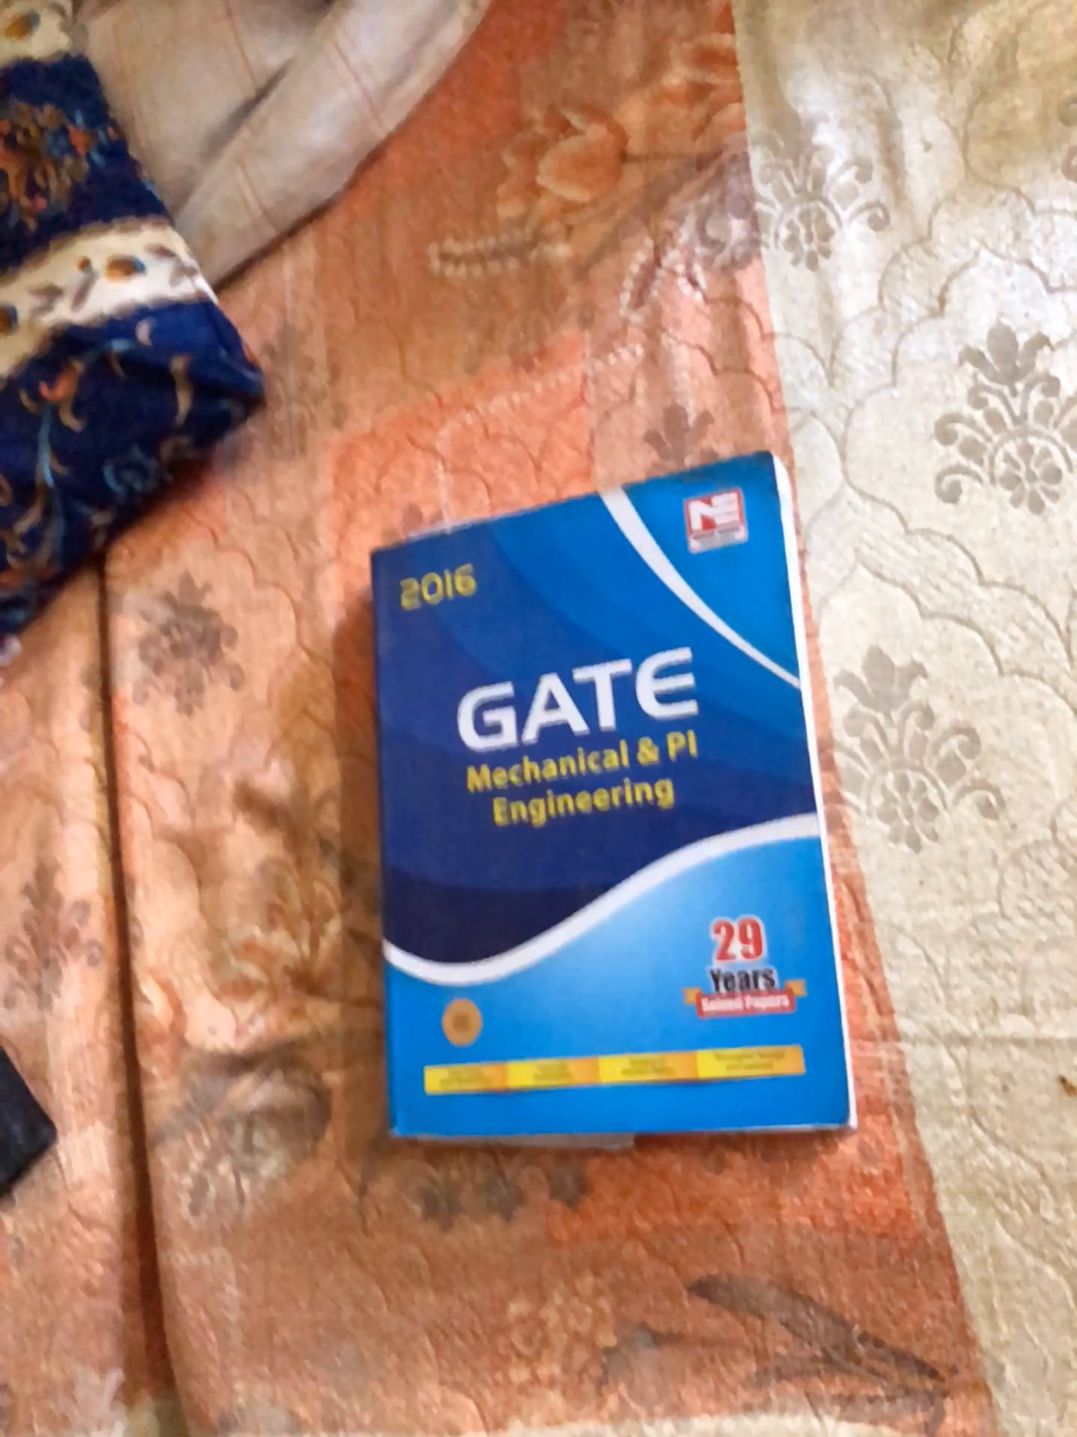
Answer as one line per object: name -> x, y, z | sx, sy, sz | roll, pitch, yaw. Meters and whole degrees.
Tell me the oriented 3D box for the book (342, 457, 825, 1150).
book -> 0.010, 0.044, 0.543 | 0.200, 0.051, 0.280 | -9, 75, 25
